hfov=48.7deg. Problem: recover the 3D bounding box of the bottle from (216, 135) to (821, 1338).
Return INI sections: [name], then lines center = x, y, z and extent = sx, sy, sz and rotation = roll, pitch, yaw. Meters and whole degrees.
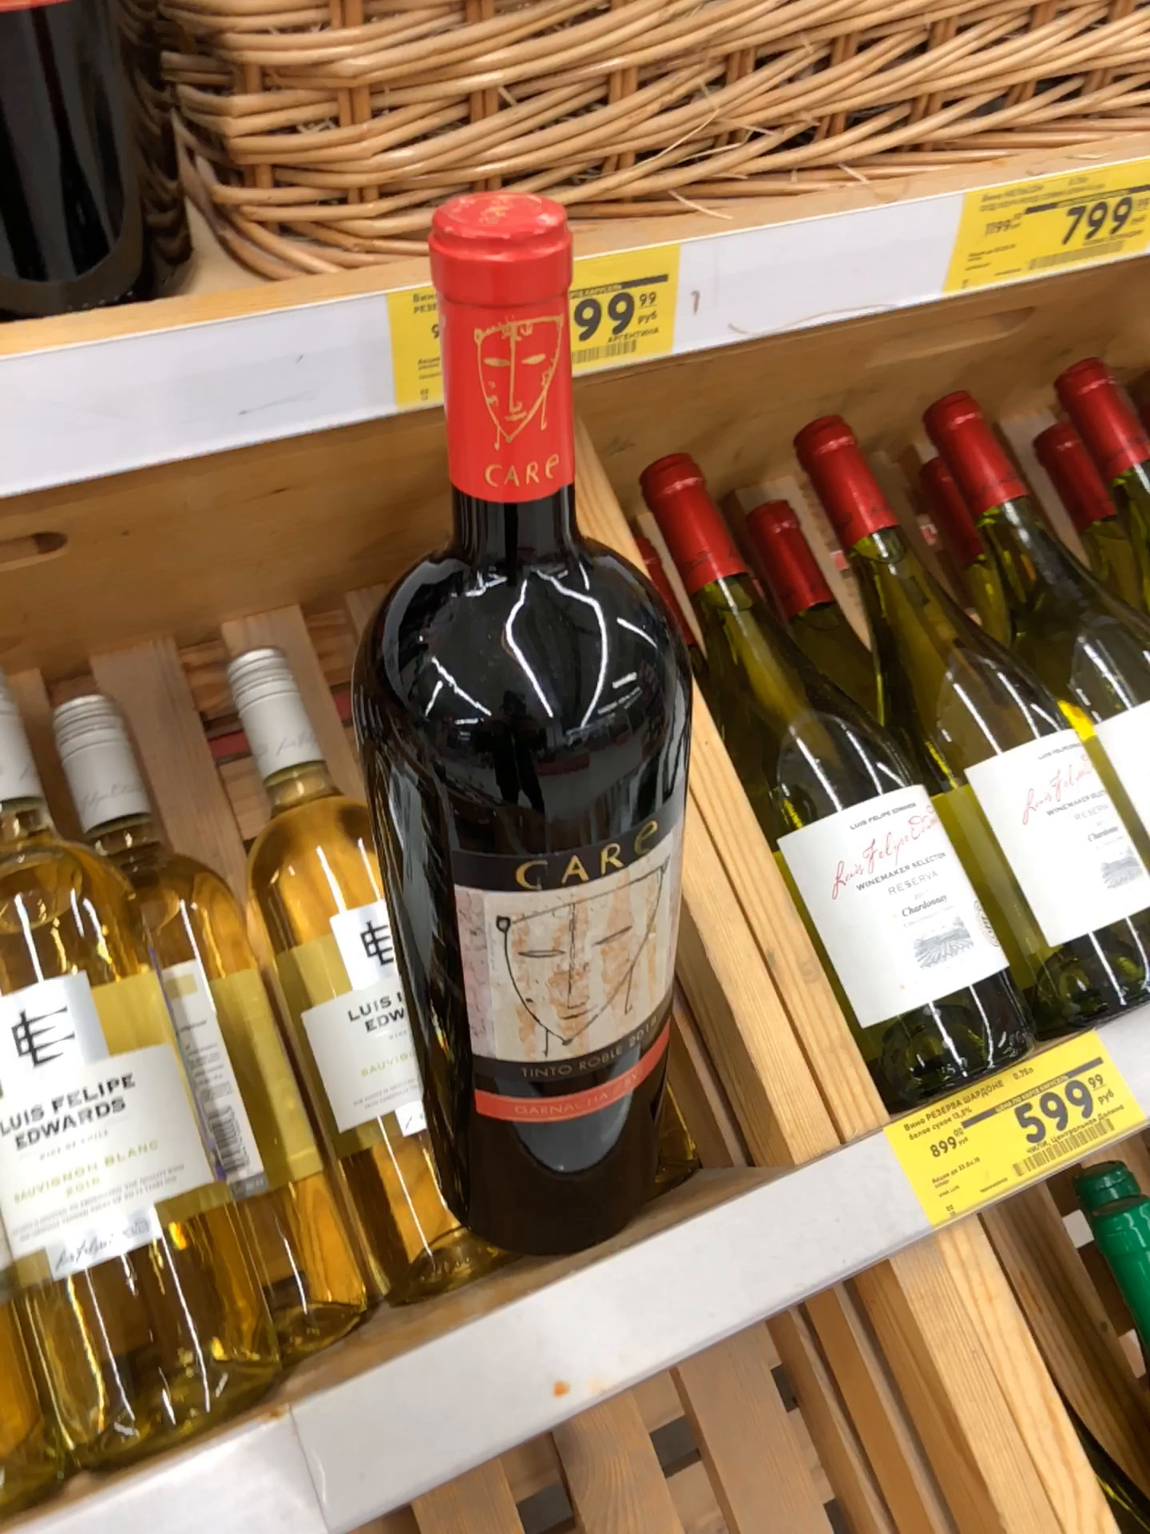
[bottle]
center = -0.016, 0.020, 0.384
extent = 0.100, 0.358, 0.100
rotation = 0, 39, 0
